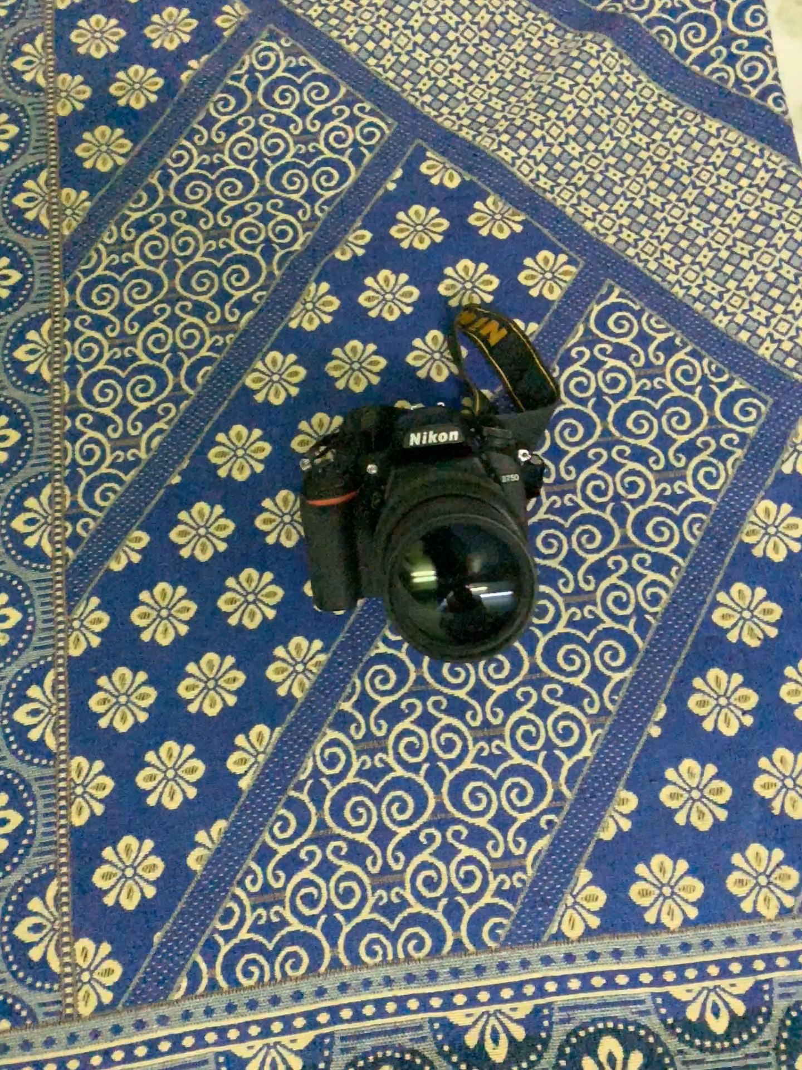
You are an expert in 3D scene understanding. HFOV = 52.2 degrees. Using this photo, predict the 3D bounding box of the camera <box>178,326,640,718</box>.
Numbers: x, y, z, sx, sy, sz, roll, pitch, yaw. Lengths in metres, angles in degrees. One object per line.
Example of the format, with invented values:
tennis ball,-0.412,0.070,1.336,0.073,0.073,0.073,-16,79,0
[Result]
camera,0.004,-0.005,0.402,0.160,0.191,0.130,-6,90,1
